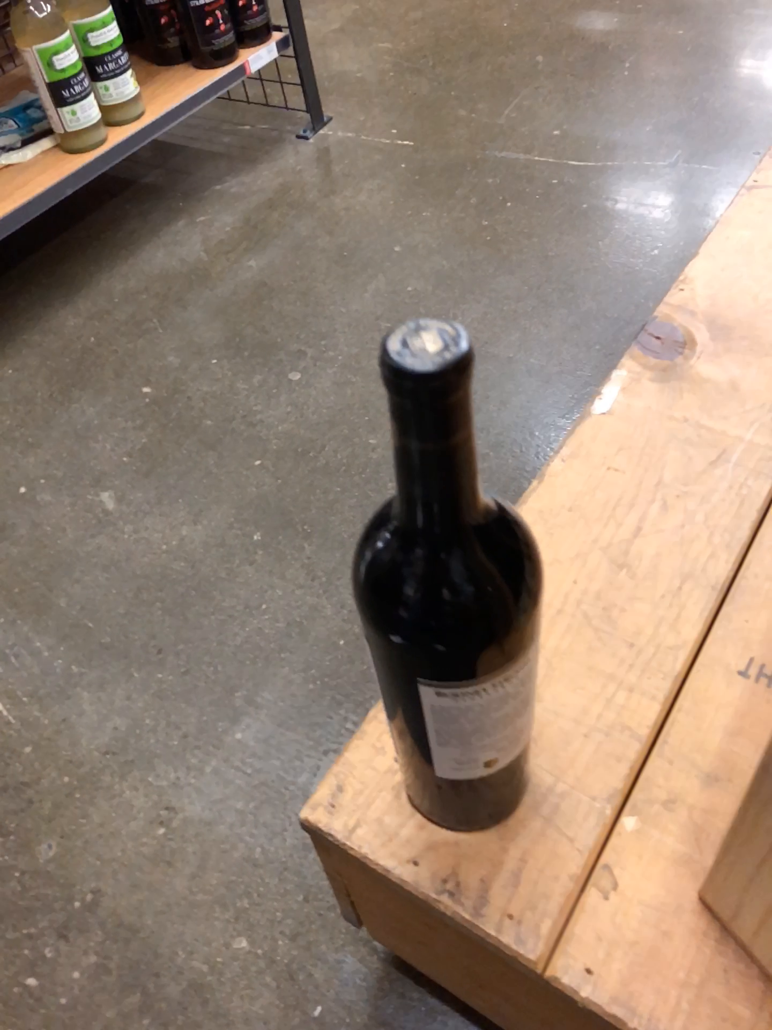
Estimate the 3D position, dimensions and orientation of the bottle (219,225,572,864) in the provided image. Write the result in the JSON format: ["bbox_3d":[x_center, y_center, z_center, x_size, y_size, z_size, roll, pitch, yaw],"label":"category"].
[{"bbox_3d":[0.021,0.044,0.366,0.080,0.309,0.070,-31,51,-16],"label":"bottle"}]
